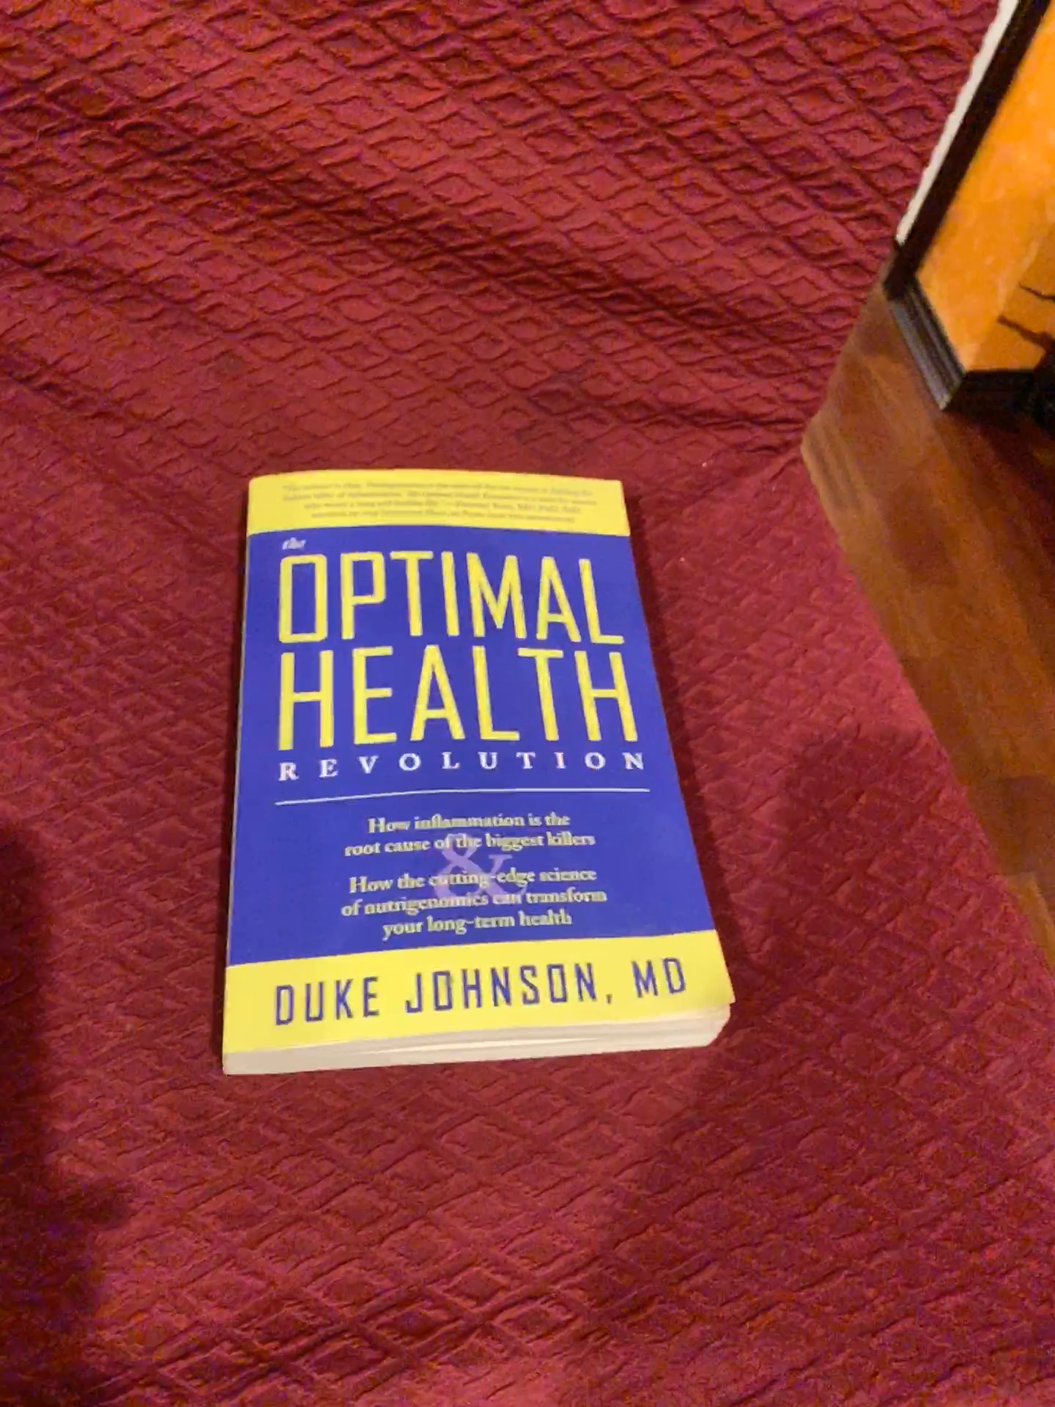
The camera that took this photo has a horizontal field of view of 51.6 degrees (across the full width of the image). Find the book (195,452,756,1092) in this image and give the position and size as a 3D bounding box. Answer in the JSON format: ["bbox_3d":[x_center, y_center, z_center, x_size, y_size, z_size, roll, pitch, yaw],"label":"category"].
[{"bbox_3d":[-0.025,0.014,0.395,0.161,0.060,0.222,0,58,-9],"label":"book"}]
